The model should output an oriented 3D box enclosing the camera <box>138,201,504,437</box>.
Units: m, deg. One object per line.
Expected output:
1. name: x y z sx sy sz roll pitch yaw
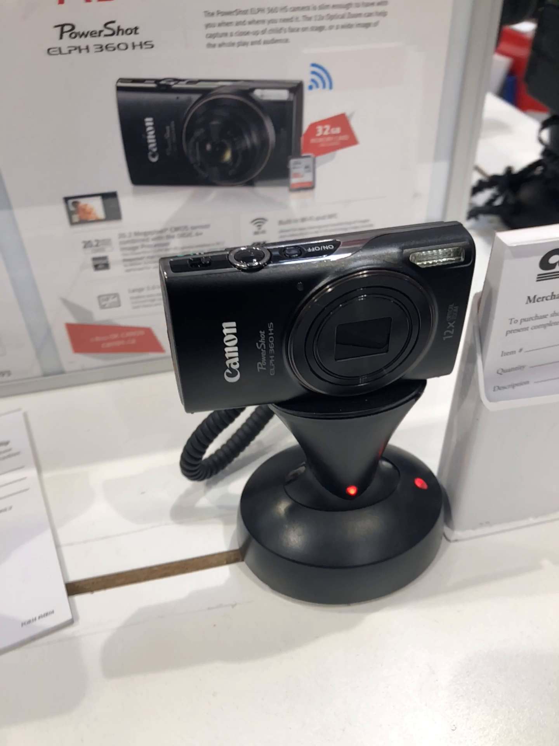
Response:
1. camera: 0.013 -0.019 0.214 0.110 0.060 0.030 -9 40 -8
